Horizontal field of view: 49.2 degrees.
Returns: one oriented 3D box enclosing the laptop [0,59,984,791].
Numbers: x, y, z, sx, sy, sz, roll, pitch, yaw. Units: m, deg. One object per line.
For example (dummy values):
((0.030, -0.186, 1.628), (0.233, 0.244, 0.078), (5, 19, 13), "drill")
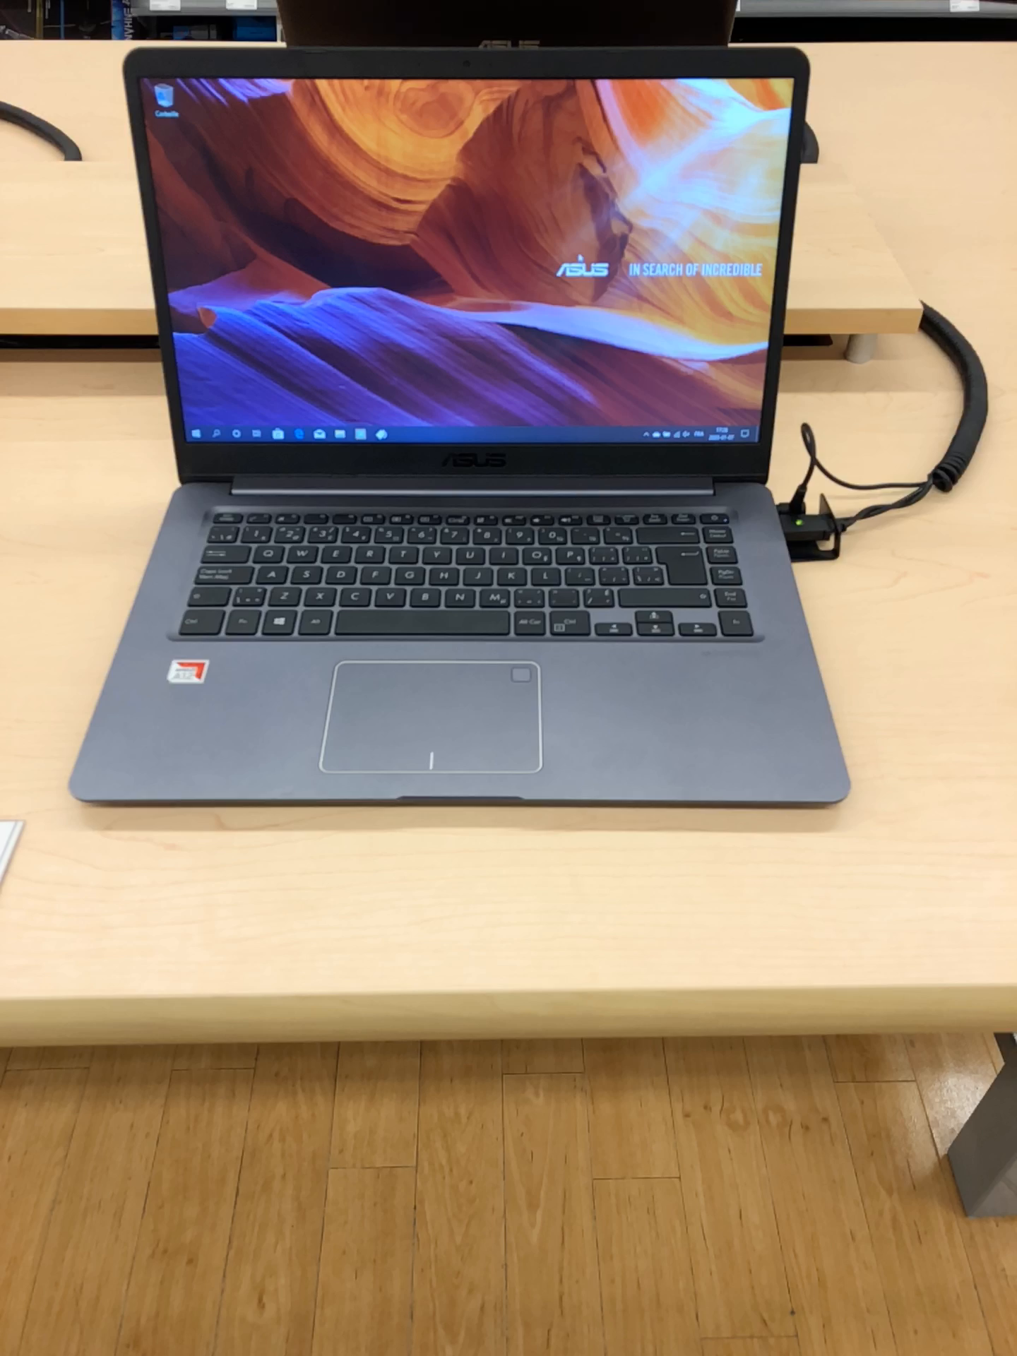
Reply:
((-0.023, -0.138, 0.560), (0.361, 0.223, 0.319), (0, 45, 0), "laptop")
